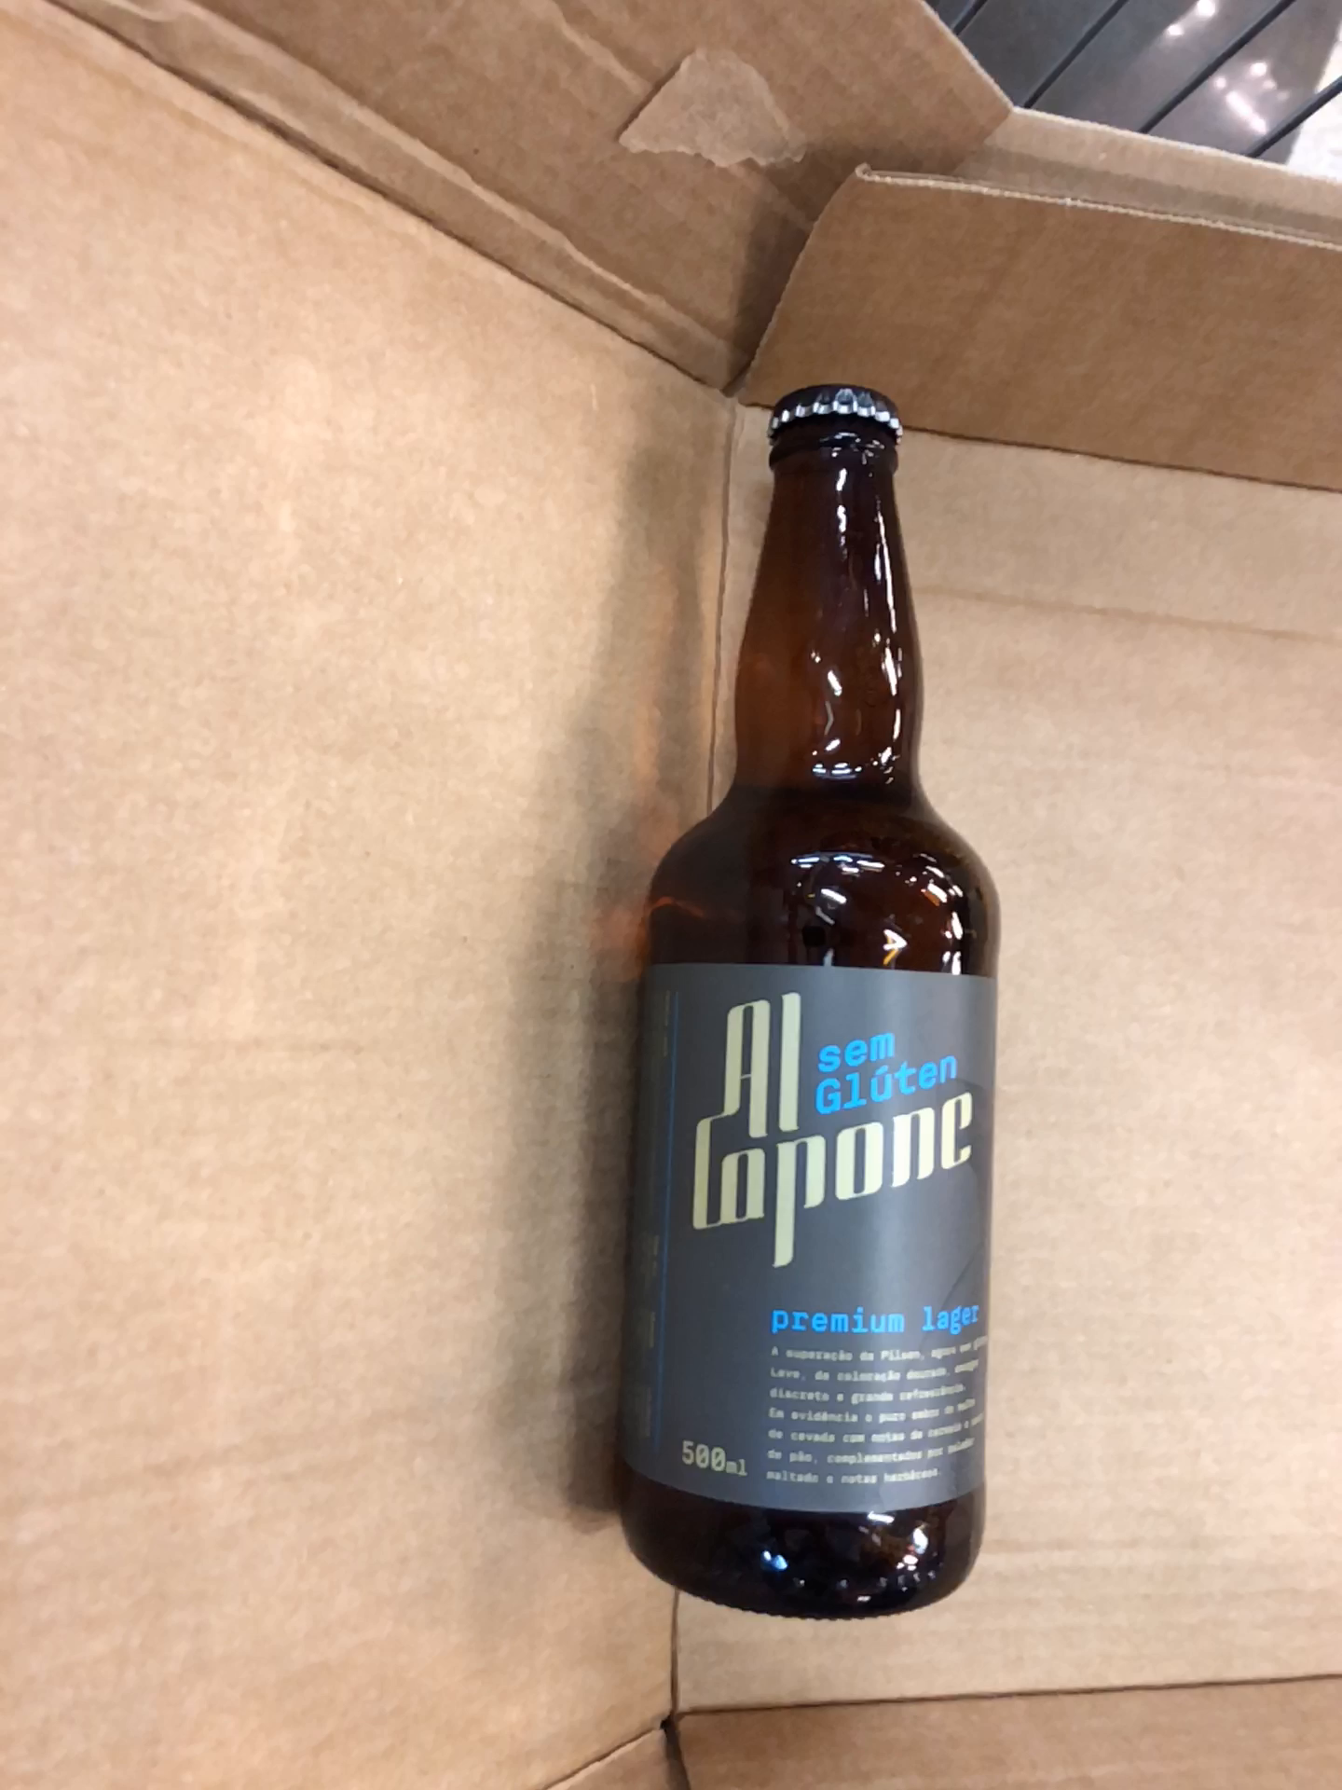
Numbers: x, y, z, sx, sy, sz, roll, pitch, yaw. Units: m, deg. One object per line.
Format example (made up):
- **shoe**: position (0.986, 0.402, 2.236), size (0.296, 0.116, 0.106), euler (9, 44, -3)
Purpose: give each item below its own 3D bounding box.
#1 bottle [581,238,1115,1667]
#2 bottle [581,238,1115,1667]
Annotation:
- **bottle**: position (0.043, 0.009, 0.348), size (0.090, 0.070, 0.290), euler (9, 77, -26)
- **bottle**: position (0.043, 0.009, 0.348), size (0.090, 0.070, 0.290), euler (9, 77, -26)
